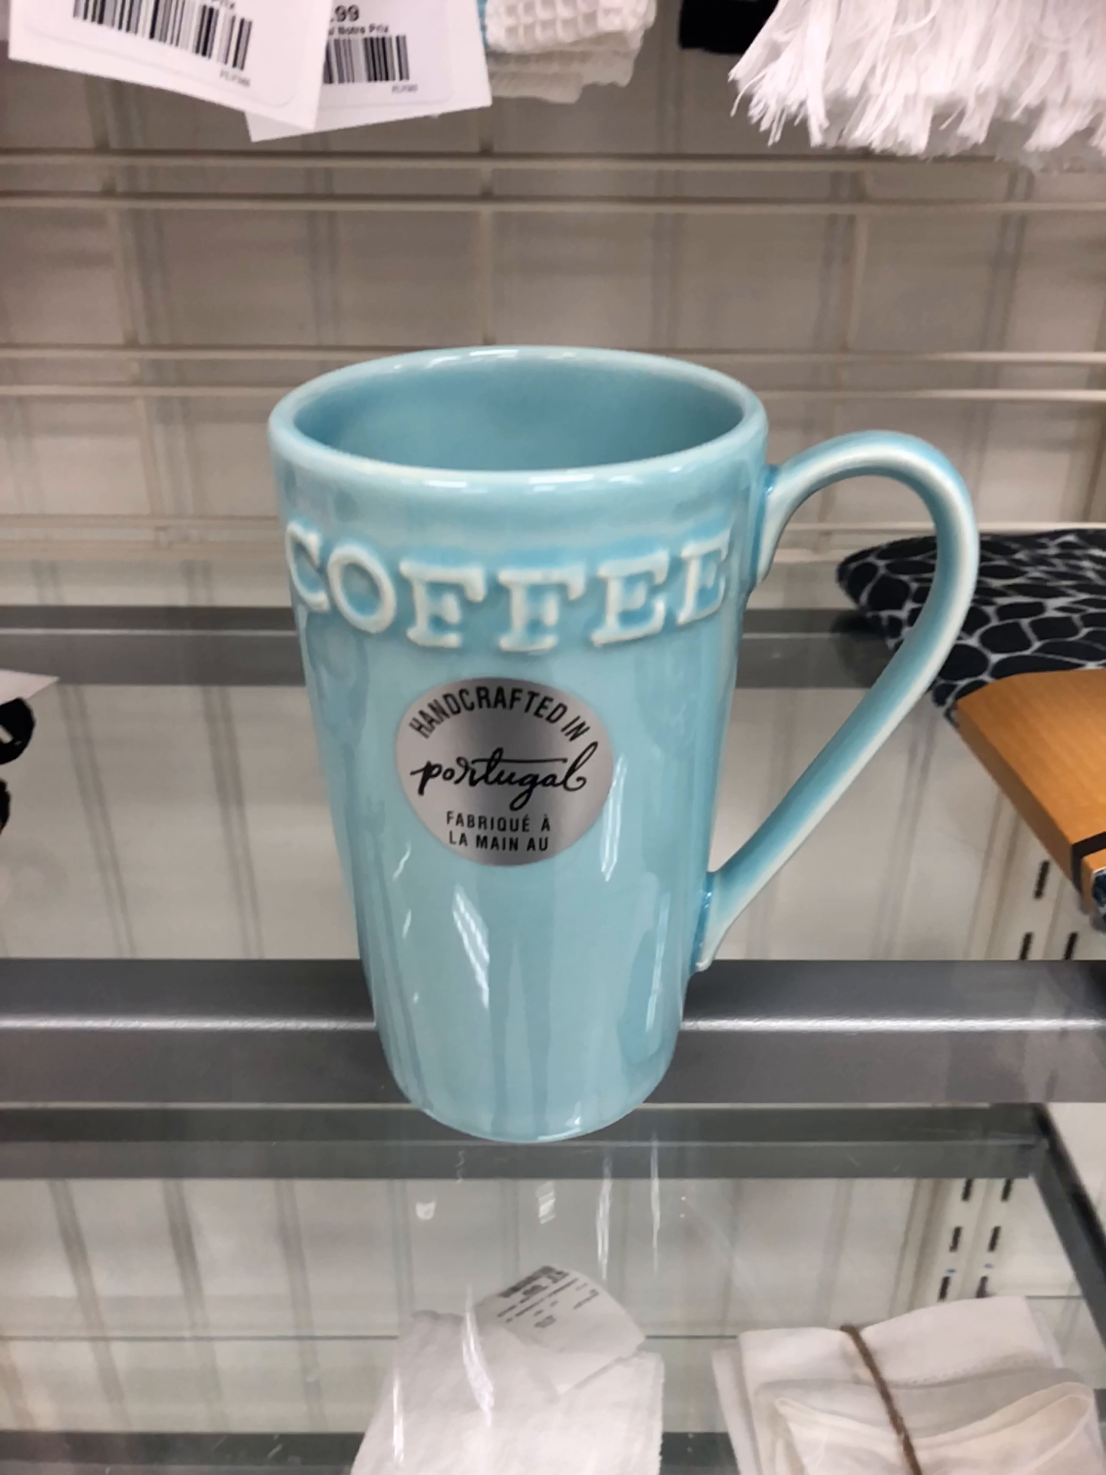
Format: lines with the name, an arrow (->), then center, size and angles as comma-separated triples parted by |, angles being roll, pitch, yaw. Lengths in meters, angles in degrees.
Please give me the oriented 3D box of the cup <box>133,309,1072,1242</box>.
cup -> 0.012, 0.000, 0.239 | 0.130, 0.139, 0.091 | 7, 29, 11
